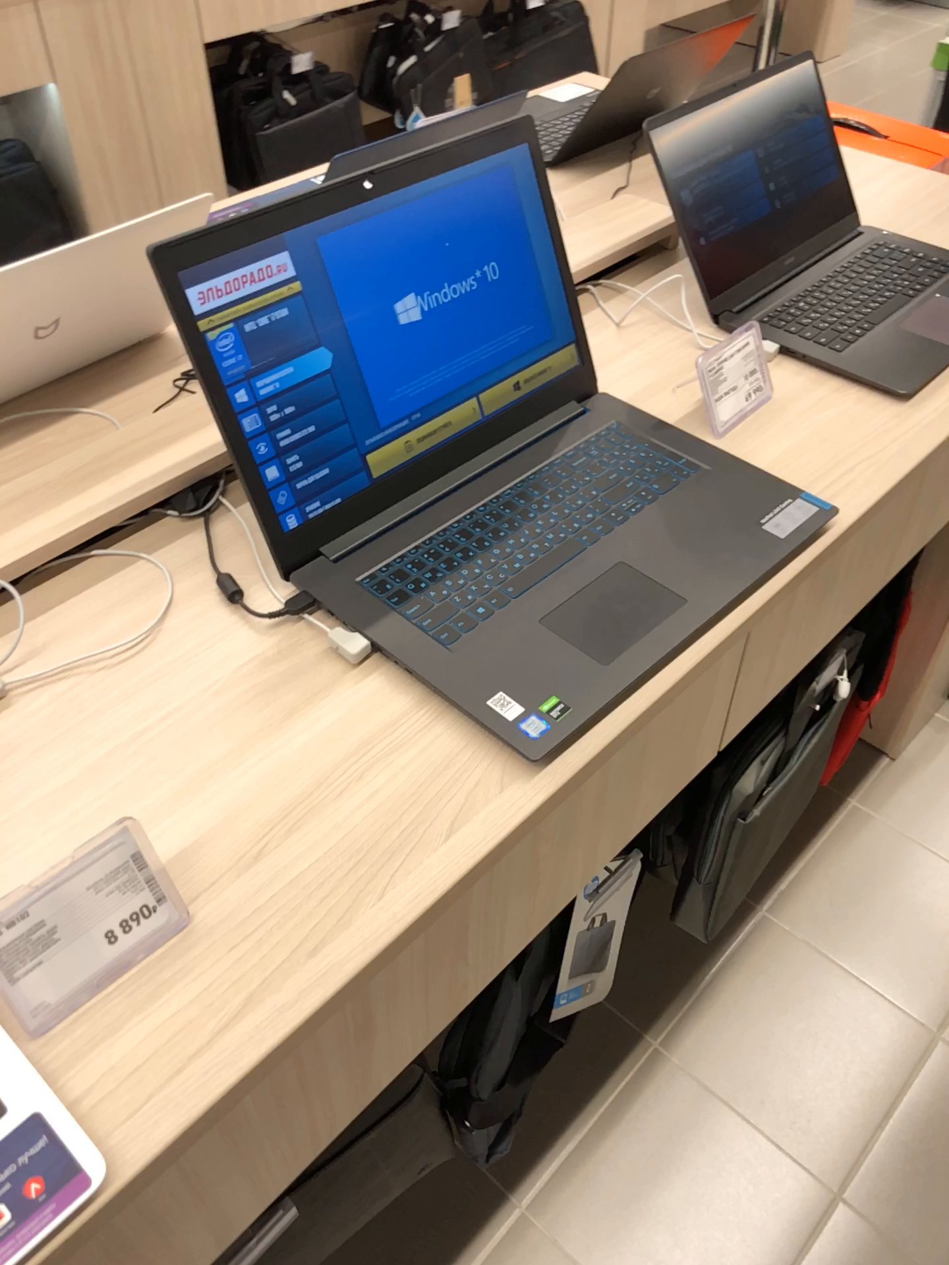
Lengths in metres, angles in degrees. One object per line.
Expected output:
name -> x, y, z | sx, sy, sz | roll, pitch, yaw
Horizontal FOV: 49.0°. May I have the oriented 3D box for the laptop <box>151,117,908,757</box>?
laptop -> 0.042, -0.193, 0.836 | 0.381, 0.242, 0.396 | 35, 53, 30
